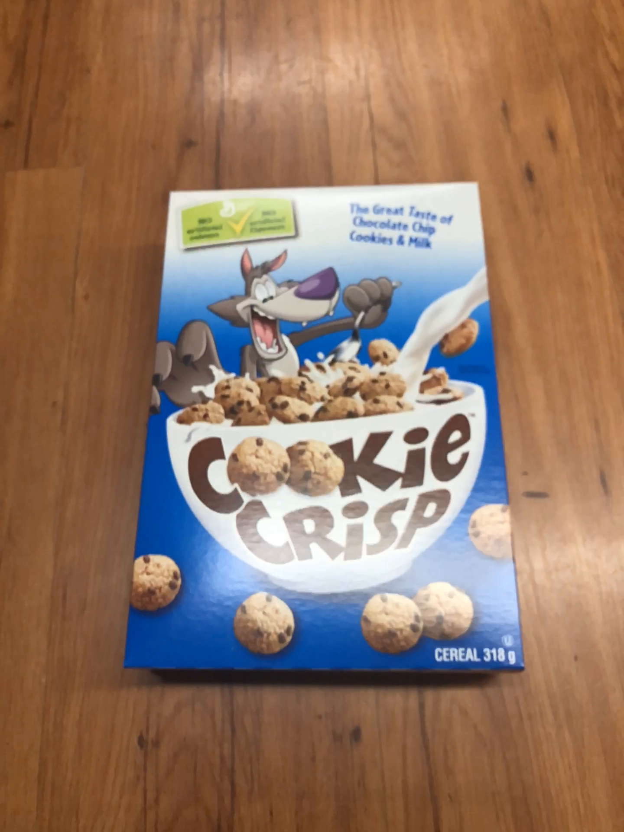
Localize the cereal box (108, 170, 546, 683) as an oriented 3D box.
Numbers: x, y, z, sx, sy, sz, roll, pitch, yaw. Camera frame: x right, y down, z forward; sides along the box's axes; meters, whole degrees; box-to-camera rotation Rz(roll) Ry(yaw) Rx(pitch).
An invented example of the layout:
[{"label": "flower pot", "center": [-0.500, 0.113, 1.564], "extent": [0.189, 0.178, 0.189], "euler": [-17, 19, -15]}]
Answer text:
[{"label": "cereal box", "center": [0.007, -0.001, 0.393], "extent": [0.200, 0.060, 0.281], "euler": [-1, 70, 3]}]
